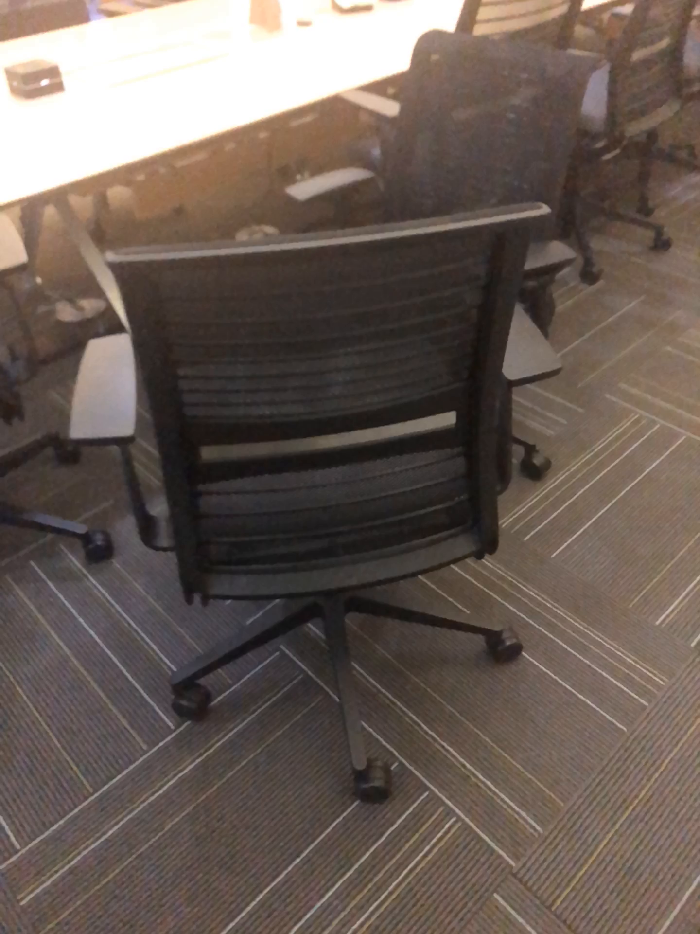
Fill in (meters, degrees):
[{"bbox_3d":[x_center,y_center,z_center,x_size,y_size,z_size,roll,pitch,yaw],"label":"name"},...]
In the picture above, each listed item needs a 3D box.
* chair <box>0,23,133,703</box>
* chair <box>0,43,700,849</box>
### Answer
[{"bbox_3d":[-0.974,-0.230,1.538,0.732,0.963,0.724,-17,42,-16],"label":"chair"},{"bbox_3d":[-0.040,-0.038,1.247,0.721,0.963,0.715,-9,40,-7],"label":"chair"}]
